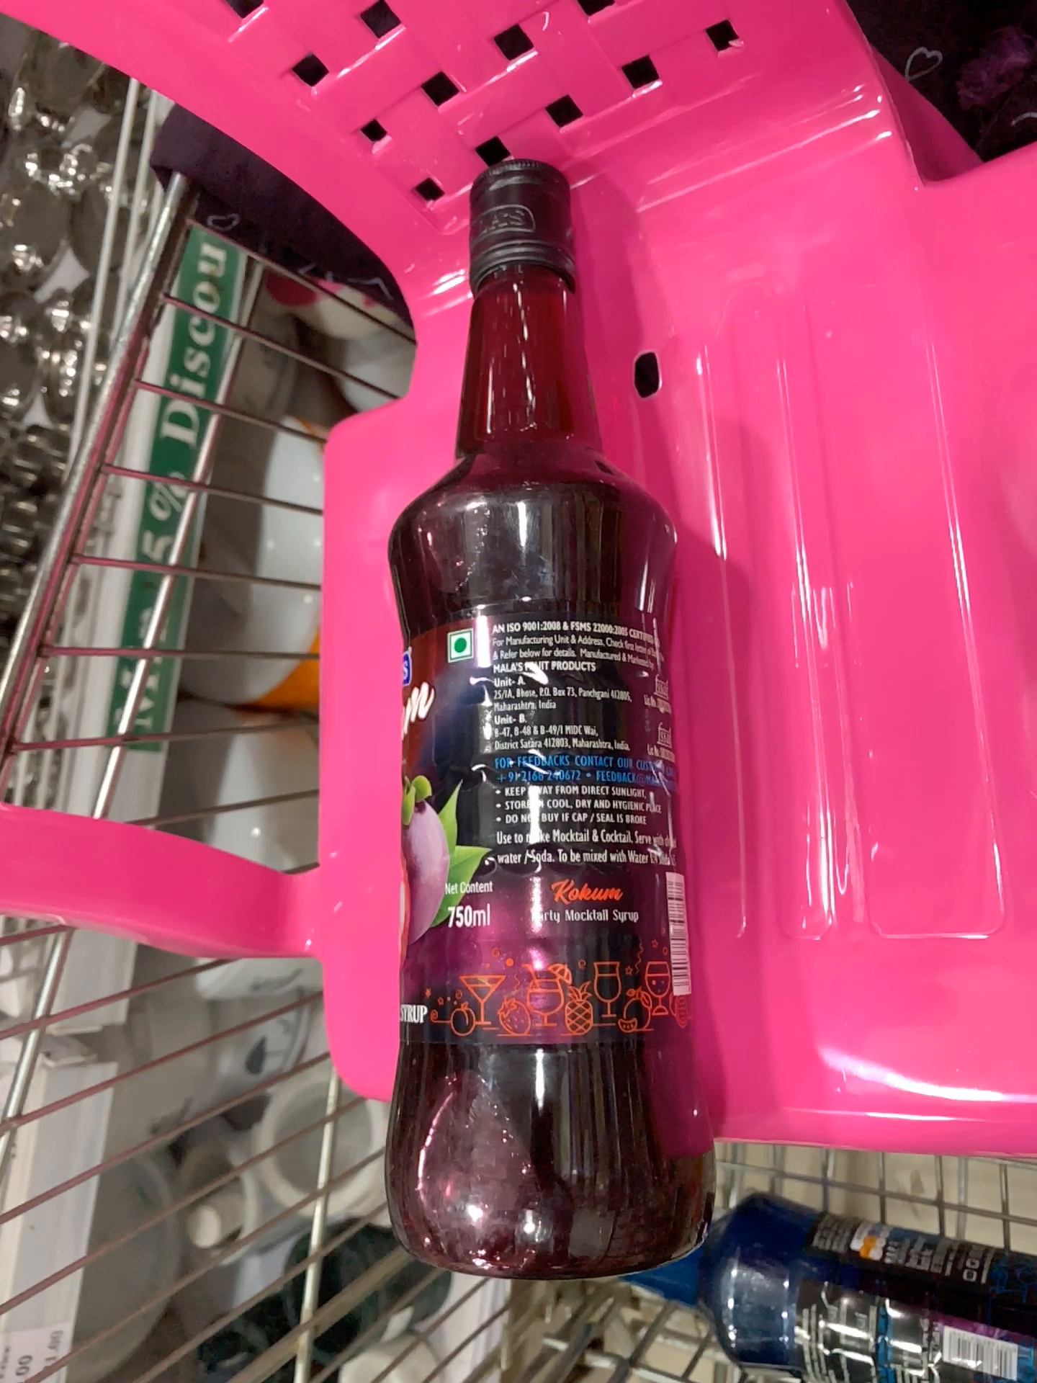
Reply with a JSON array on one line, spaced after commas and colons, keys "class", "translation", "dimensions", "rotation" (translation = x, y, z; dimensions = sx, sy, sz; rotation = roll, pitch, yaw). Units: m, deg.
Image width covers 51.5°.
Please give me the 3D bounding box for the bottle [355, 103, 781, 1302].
[{"class": "bottle", "translation": [0.010, -0.001, 0.273], "dimensions": [0.080, 0.080, 0.260], "rotation": [-4, 79, 7]}]
